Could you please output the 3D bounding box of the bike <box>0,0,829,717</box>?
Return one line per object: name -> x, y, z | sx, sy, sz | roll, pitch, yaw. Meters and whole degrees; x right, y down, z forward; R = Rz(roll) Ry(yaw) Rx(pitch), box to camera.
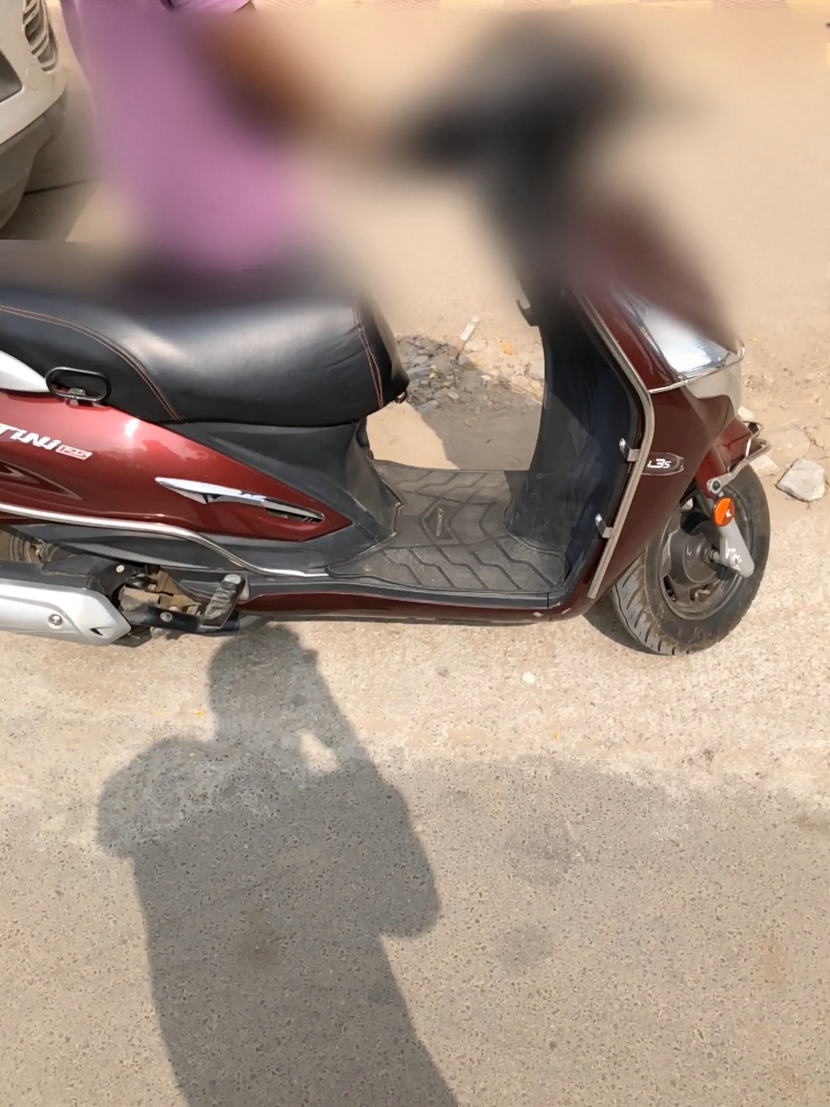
bike -> -0.126, -0.362, 1.720 | 1.614, 1.126, 0.678 | -5, 45, 2
